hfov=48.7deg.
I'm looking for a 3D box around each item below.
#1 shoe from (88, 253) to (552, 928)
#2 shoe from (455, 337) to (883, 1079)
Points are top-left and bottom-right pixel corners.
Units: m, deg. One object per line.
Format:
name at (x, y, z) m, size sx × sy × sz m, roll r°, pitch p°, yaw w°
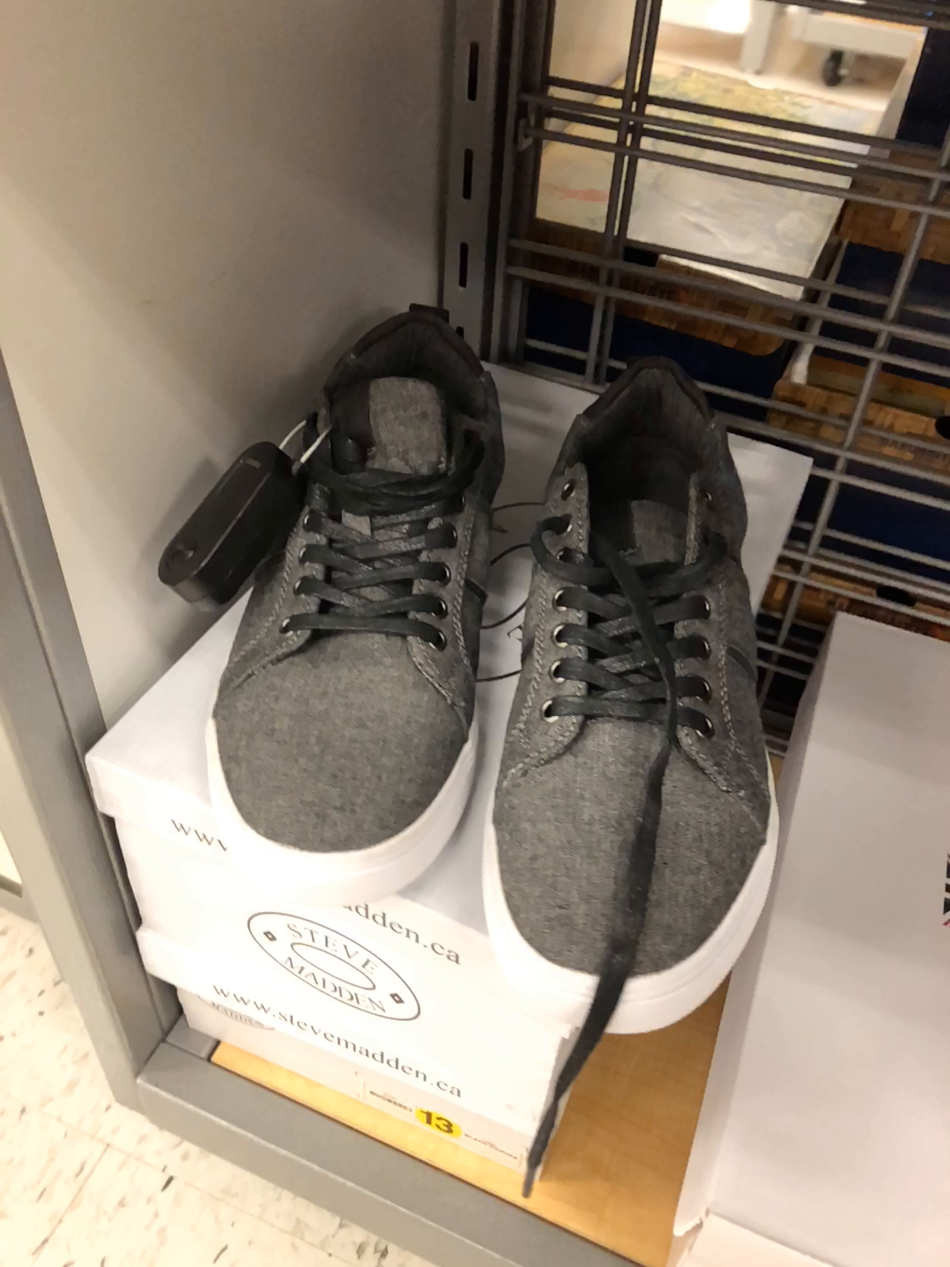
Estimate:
shoe at (-0.037, -0.035, 0.401) m, size 0.110 × 0.106 × 0.255 m, roll 6°, pitch 43°, yaw 2°
shoe at (0.066, 0.006, 0.385) m, size 0.100 × 0.106 × 0.255 m, roll 8°, pitch 44°, yaw 4°
